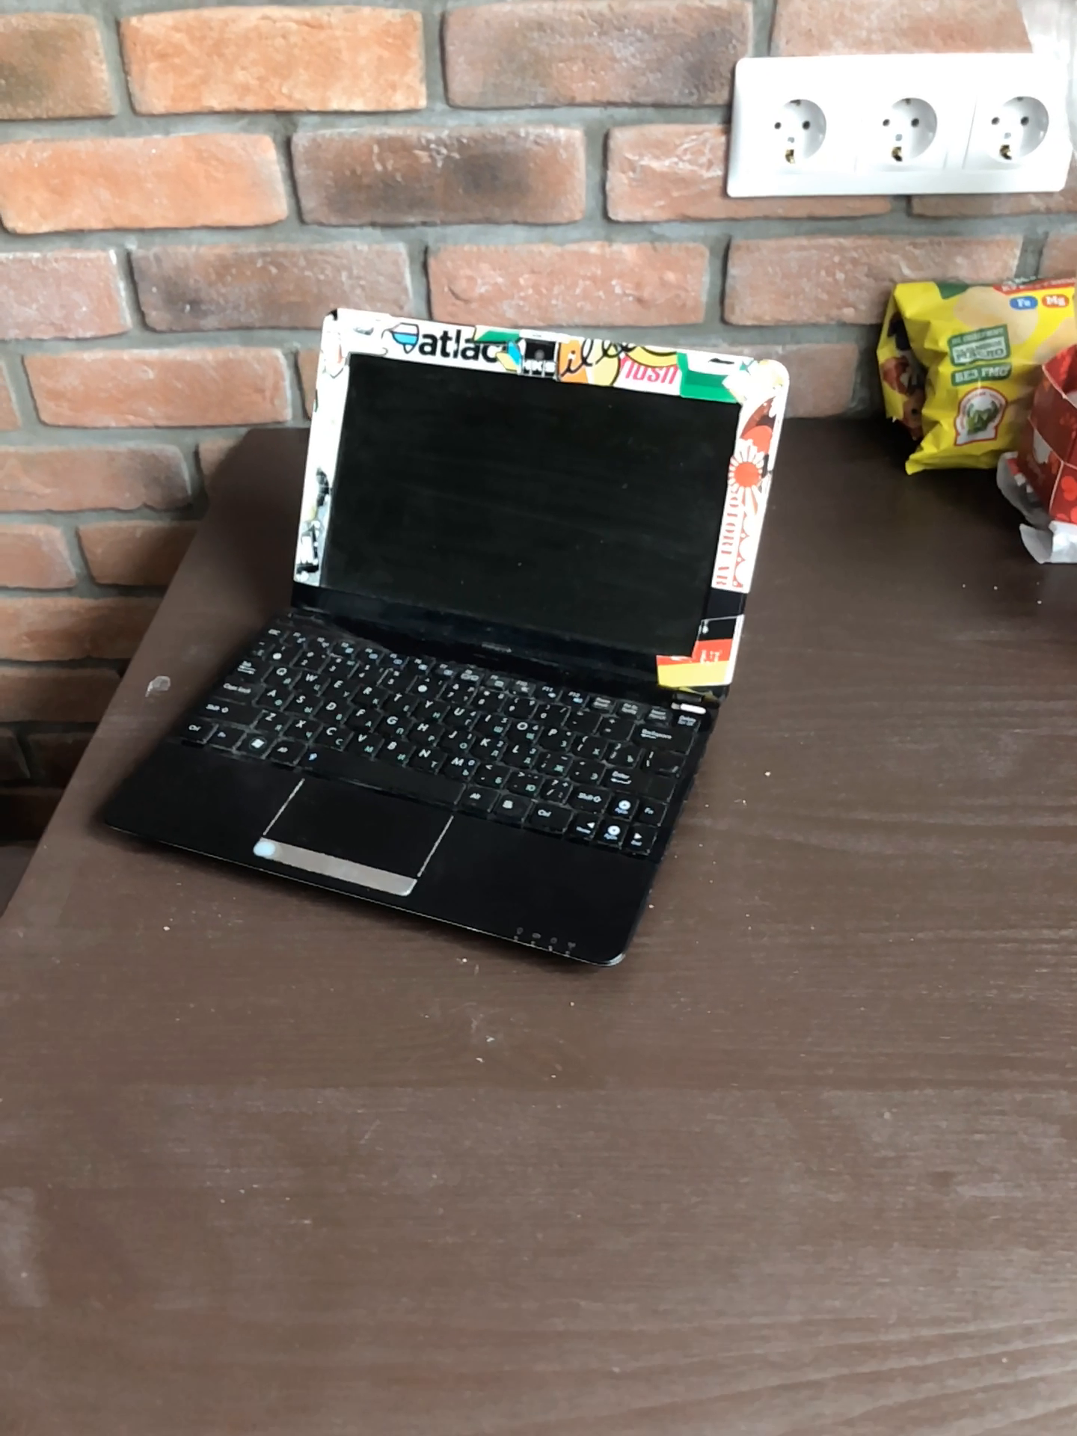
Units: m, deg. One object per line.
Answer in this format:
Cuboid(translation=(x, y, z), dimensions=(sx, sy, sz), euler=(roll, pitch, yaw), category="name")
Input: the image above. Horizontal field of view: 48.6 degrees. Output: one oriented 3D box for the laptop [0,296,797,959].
Cuboid(translation=(-0.045, -0.068, 0.566), dimensions=(0.257, 0.140, 0.268), euler=(13, 43, 18), category="laptop")
